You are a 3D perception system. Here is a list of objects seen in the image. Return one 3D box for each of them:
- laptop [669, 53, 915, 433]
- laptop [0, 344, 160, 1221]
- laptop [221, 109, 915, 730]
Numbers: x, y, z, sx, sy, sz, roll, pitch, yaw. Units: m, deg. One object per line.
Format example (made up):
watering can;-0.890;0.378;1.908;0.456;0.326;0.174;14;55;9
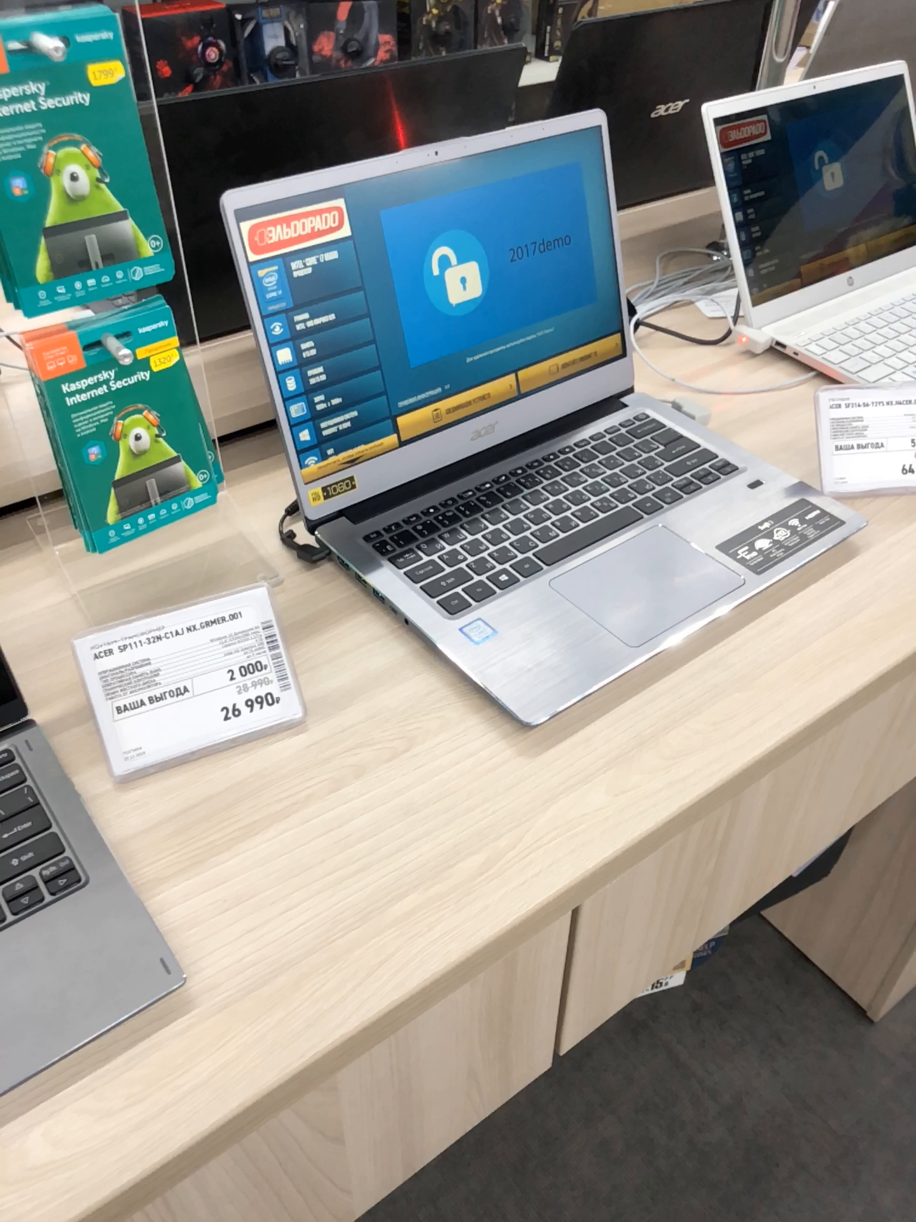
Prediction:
laptop;0.428;-0.358;0.925;0.305;0.164;0.323;-26;50;-28
laptop;-0.326;0.071;0.406;0.280;0.159;0.312;-25;50;-27
laptop;0.072;-0.156;0.660;0.315;0.197;0.303;-27;50;-29
